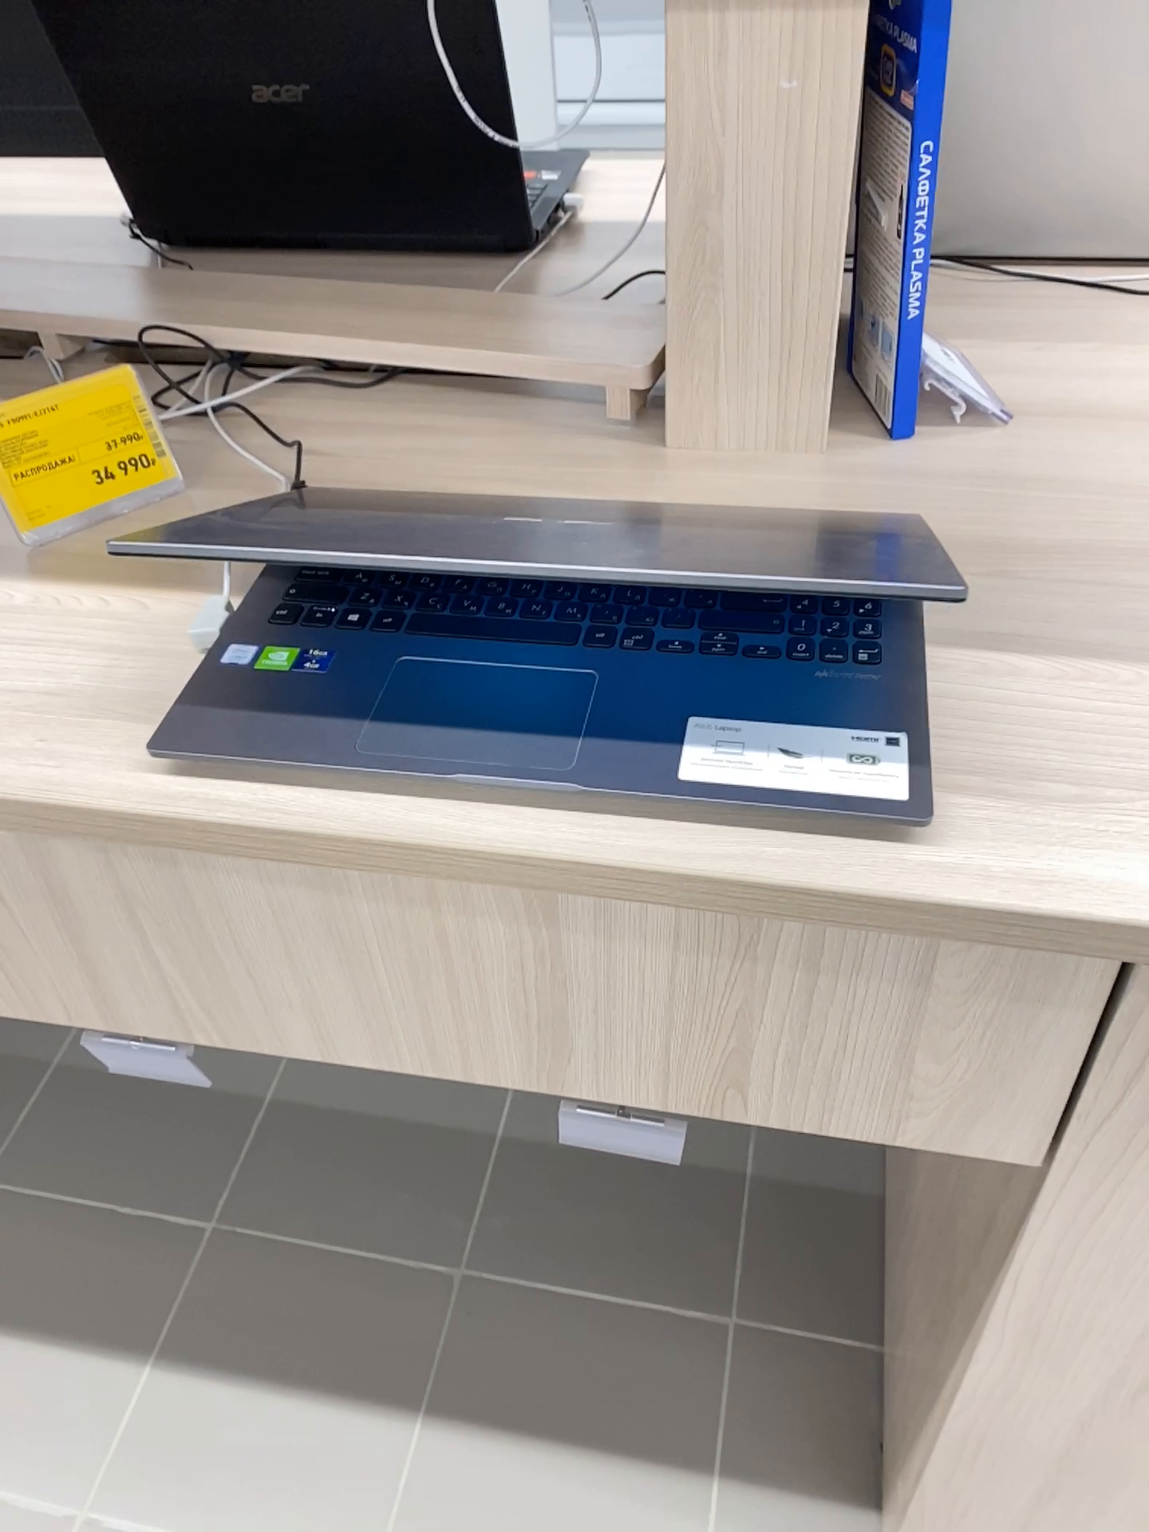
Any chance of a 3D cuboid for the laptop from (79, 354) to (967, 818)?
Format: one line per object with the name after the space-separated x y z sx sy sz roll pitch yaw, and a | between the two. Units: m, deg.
-0.008 -0.105 0.569 0.353 0.088 0.237 5 42 9 | laptop
